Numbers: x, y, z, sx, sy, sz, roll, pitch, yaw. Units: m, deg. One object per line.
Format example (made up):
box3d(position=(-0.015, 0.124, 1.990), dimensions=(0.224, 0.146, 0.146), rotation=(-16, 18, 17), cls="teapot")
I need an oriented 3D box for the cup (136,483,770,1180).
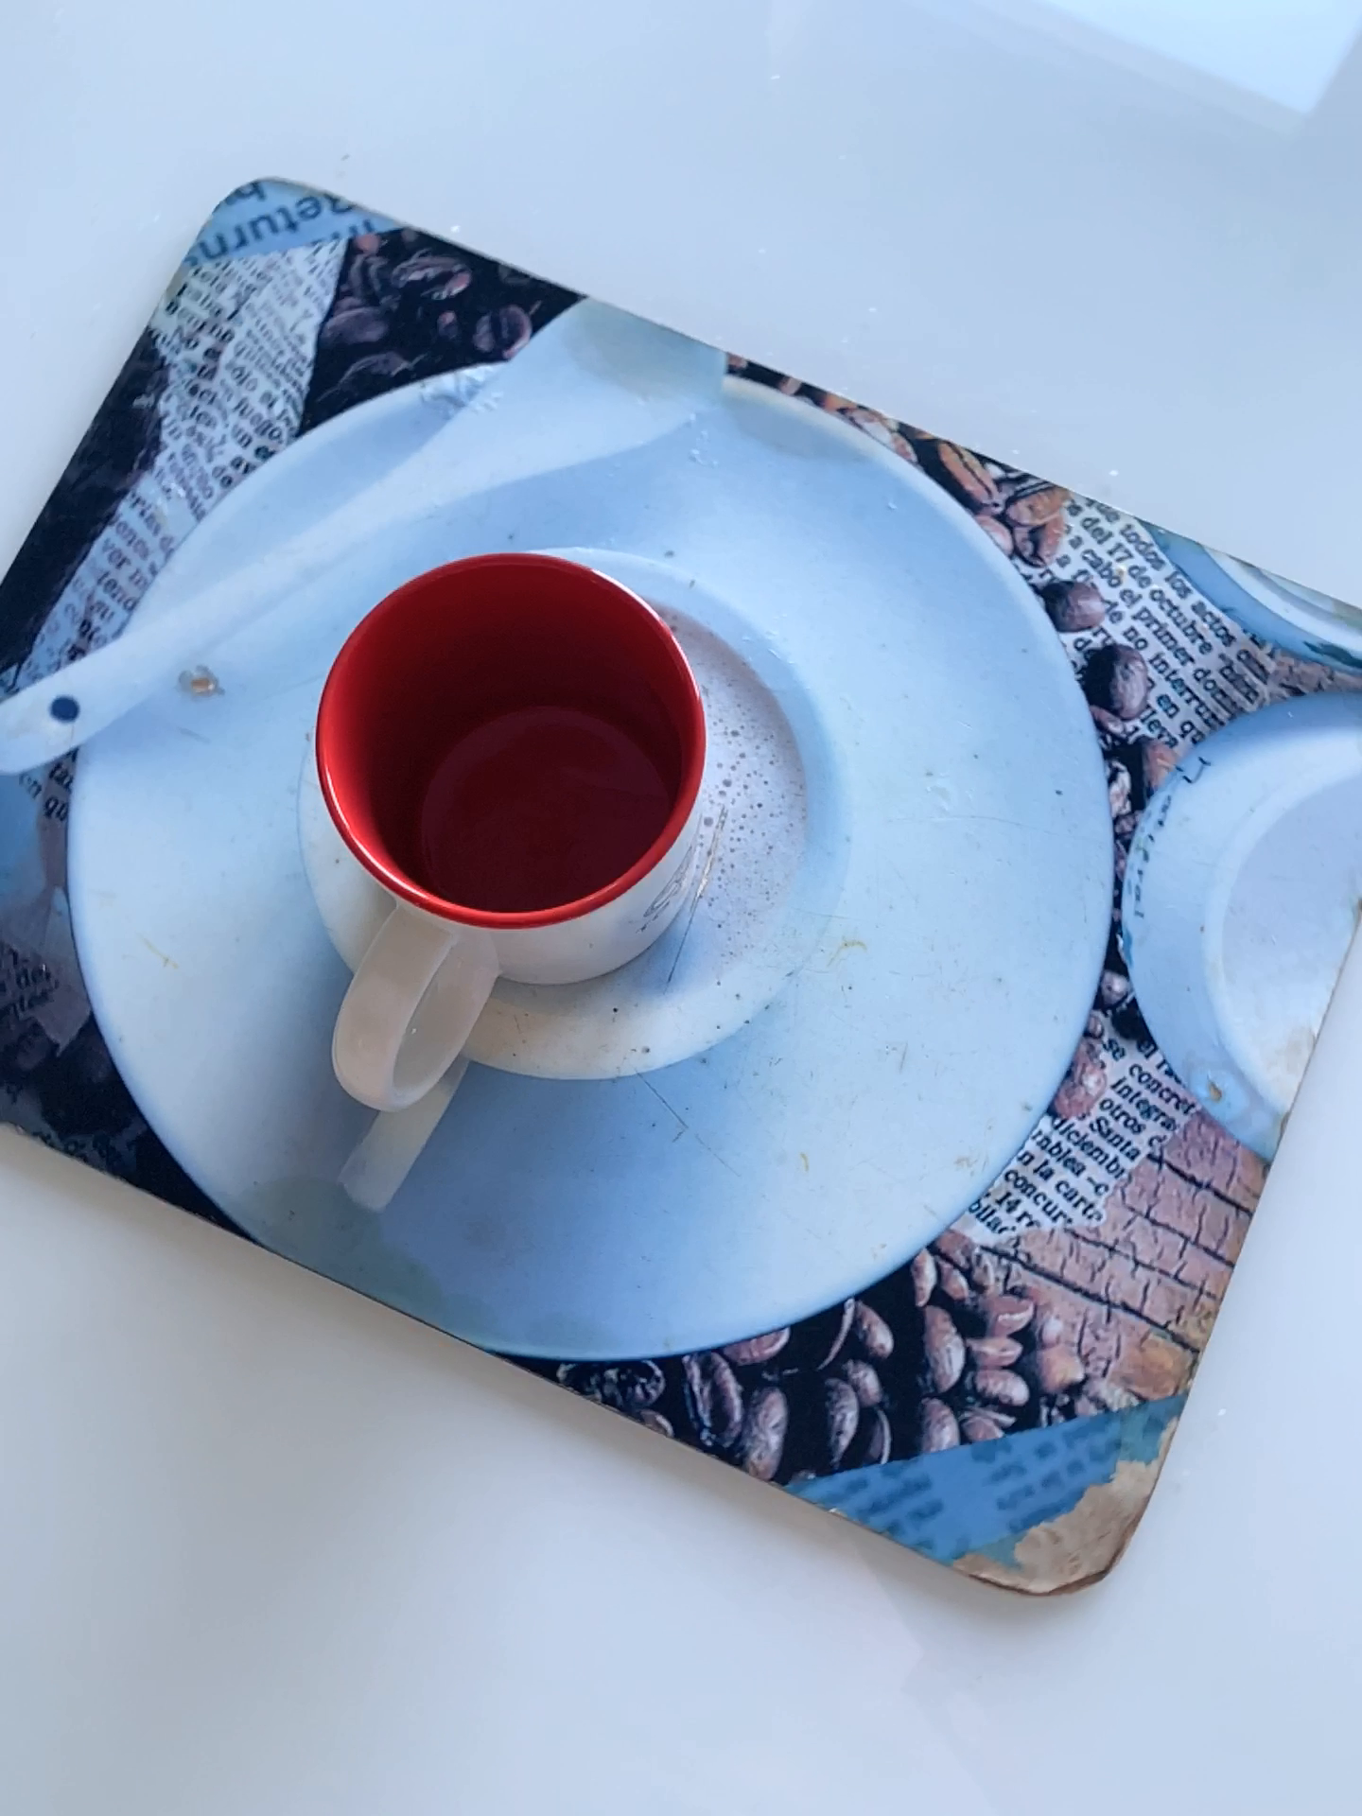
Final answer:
box3d(position=(-0.043, -0.007, 0.328), dimensions=(0.077, 0.115, 0.117), rotation=(26, 80, 5), cls="cup")
